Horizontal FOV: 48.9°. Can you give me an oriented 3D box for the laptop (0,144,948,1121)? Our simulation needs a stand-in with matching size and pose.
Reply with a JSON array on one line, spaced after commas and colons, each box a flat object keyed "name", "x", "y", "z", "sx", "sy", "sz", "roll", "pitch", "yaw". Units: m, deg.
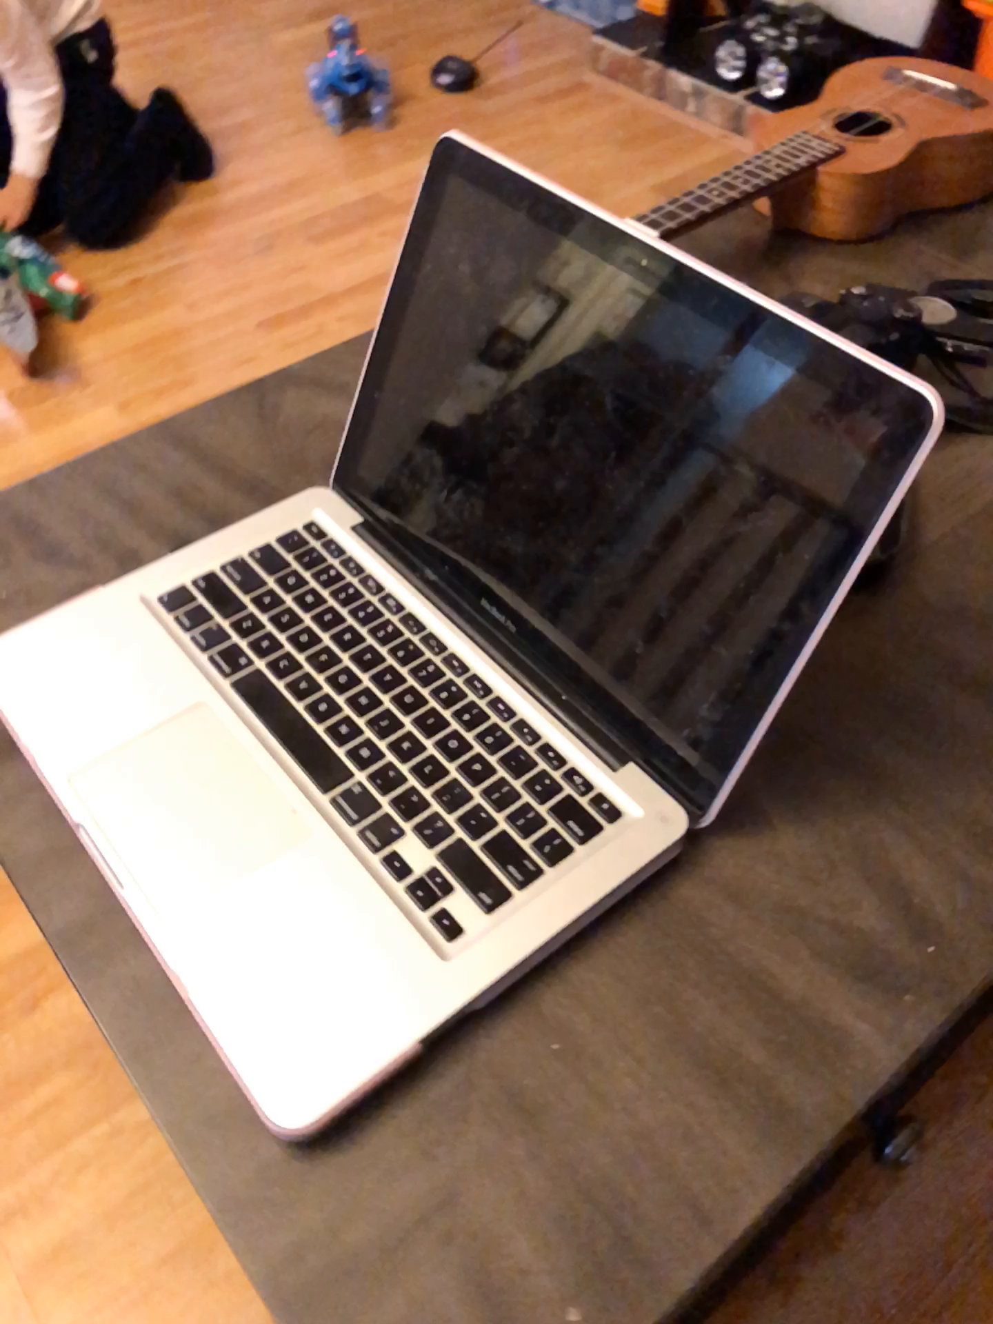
[{"name": "laptop", "x": -0.050, "y": -0.049, "z": 0.503, "sx": 0.321, "sy": 0.185, "sz": 0.313, "roll": -31, "pitch": 55, "yaw": -24}]
